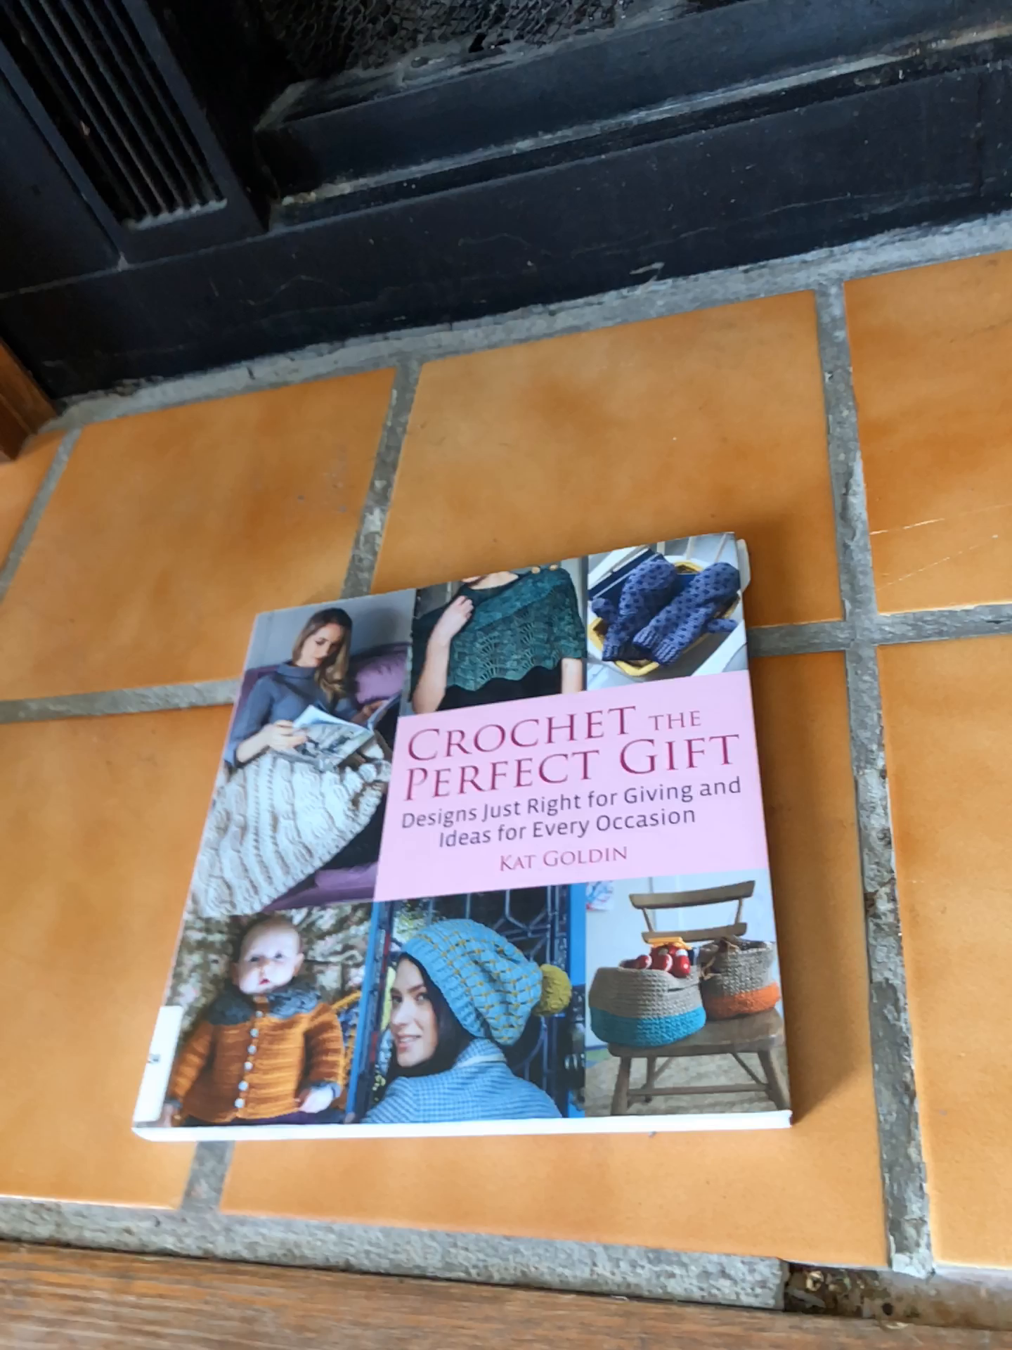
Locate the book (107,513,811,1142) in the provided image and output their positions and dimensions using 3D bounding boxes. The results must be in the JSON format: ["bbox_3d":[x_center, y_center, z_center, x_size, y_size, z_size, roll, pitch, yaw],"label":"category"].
[{"bbox_3d":[-0.015,0.047,0.402,0.218,0.020,0.221,-8,52,15],"label":"book"}]
